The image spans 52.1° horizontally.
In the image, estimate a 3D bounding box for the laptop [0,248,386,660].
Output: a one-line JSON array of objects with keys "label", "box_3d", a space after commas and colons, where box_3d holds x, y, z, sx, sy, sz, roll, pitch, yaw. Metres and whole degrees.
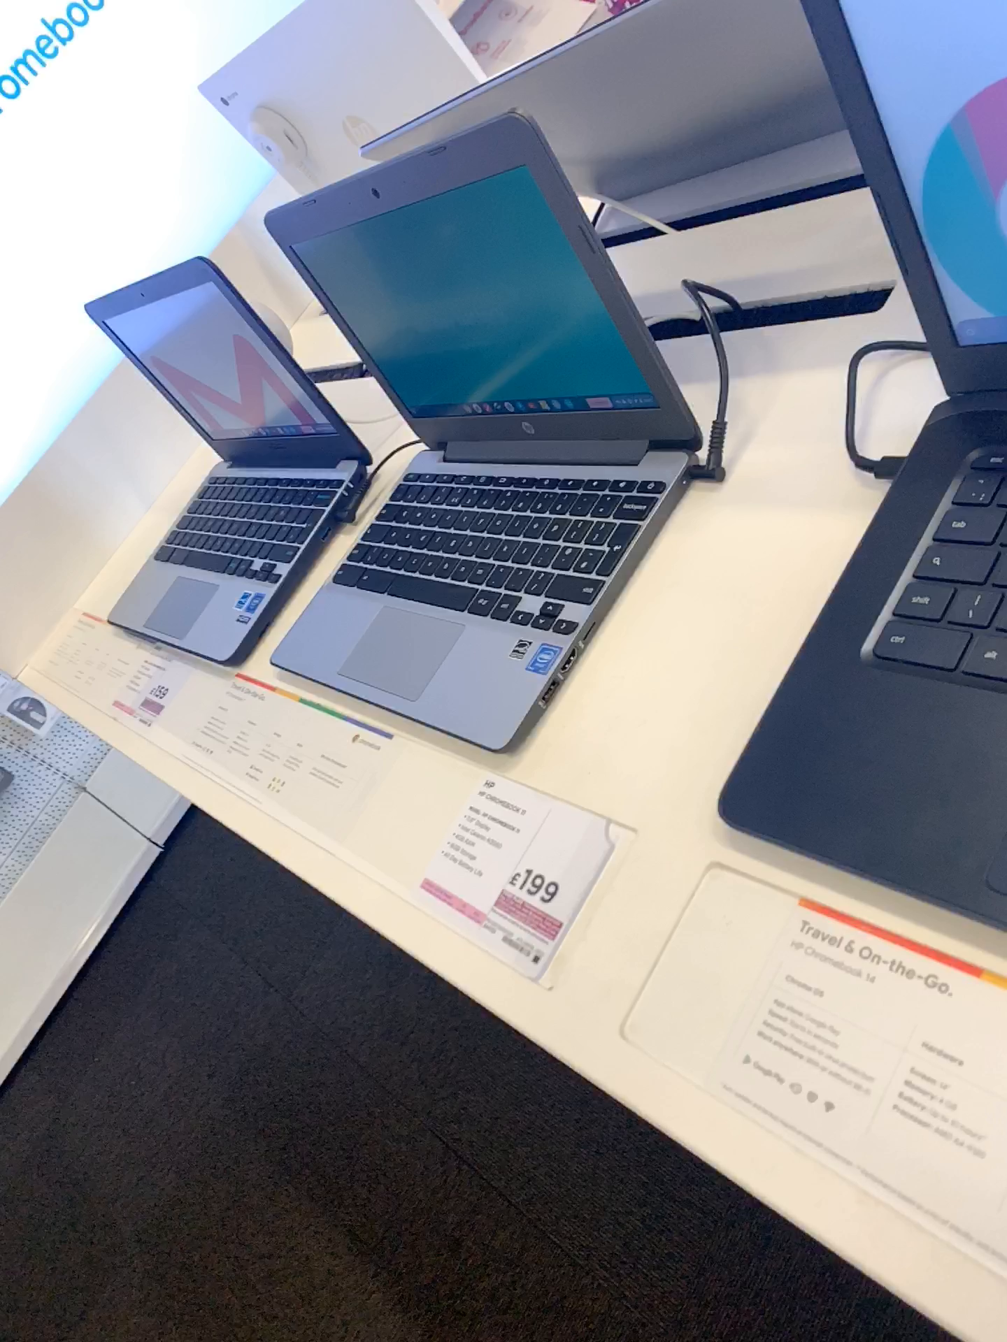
[{"label": "laptop", "box_3d": [-0.289, -0.174, 0.856, 0.288, 0.180, 0.221, 14, 68, 51]}]

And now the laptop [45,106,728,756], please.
[{"label": "laptop", "box_3d": [-0.077, -0.127, 0.589, 0.279, 0.185, 0.228, 15, 68, 52]}]
